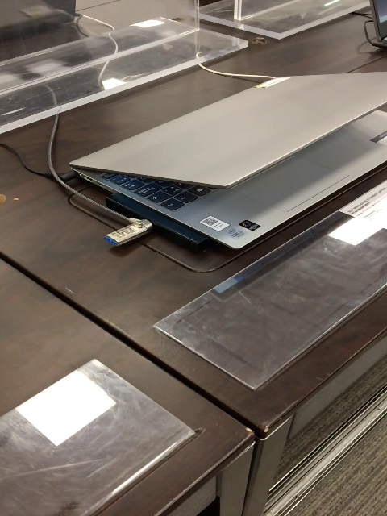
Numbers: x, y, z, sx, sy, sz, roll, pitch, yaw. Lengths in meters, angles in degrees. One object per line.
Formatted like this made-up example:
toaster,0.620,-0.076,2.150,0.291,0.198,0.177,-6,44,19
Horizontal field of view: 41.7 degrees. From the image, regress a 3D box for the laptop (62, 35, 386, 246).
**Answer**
laptop,0.085,-0.163,0.619,0.343,0.074,0.239,-33,53,-25
